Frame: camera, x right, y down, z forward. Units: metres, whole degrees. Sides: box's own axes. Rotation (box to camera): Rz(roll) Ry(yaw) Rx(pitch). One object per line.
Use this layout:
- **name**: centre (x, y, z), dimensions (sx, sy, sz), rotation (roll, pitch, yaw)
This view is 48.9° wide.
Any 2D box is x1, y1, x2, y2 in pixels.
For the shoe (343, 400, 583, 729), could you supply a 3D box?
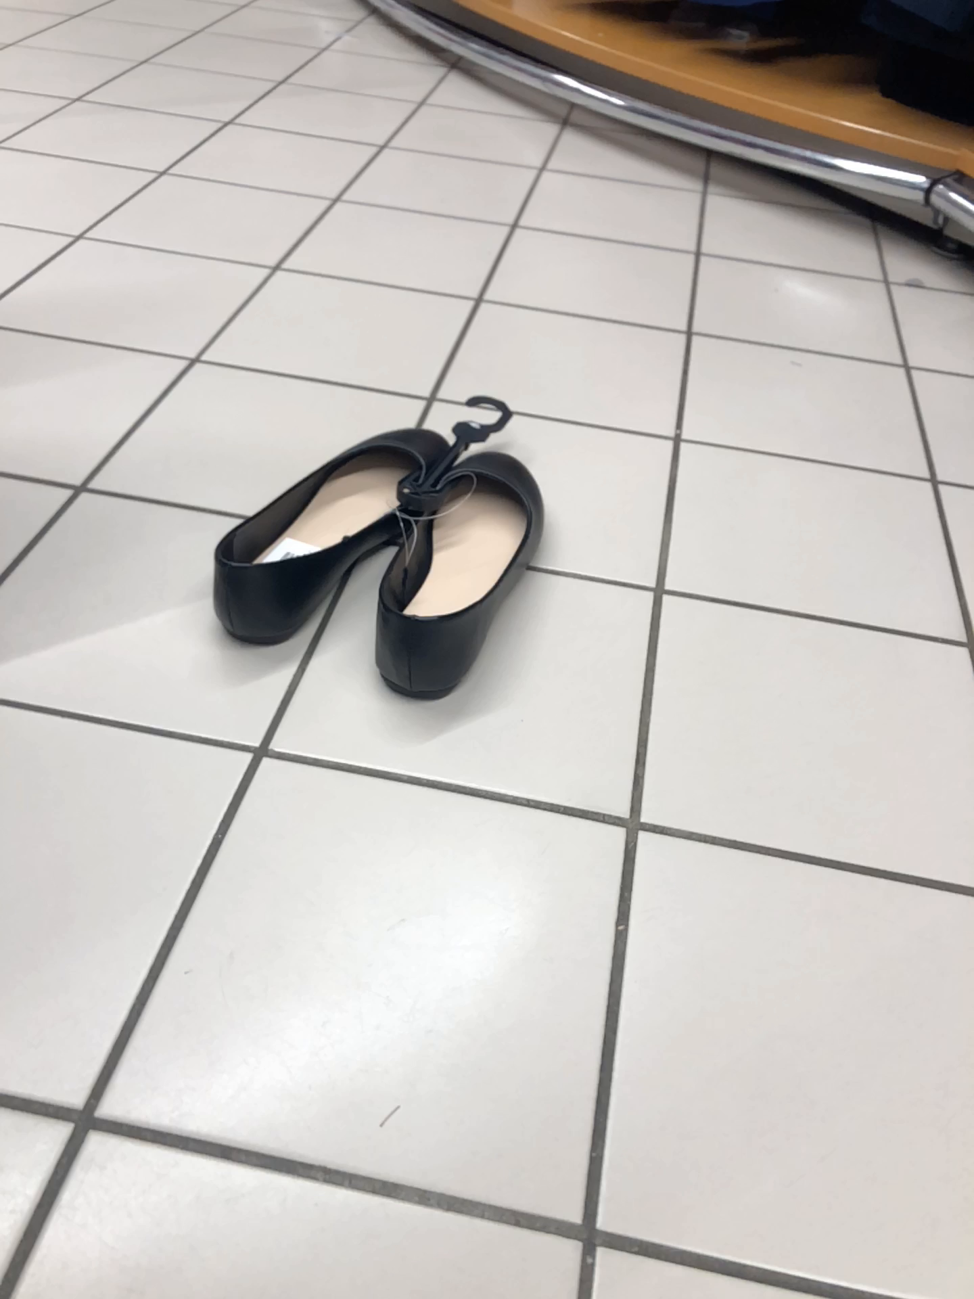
- **shoe**: centre (-0.007, -0.065, 0.673), dimensions (0.080, 0.060, 0.252), rotation (13, 42, 8)

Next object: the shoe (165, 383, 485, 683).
- **shoe**: centre (-0.094, -0.088, 0.705), dimensions (0.080, 0.060, 0.252), rotation (21, 43, 16)
